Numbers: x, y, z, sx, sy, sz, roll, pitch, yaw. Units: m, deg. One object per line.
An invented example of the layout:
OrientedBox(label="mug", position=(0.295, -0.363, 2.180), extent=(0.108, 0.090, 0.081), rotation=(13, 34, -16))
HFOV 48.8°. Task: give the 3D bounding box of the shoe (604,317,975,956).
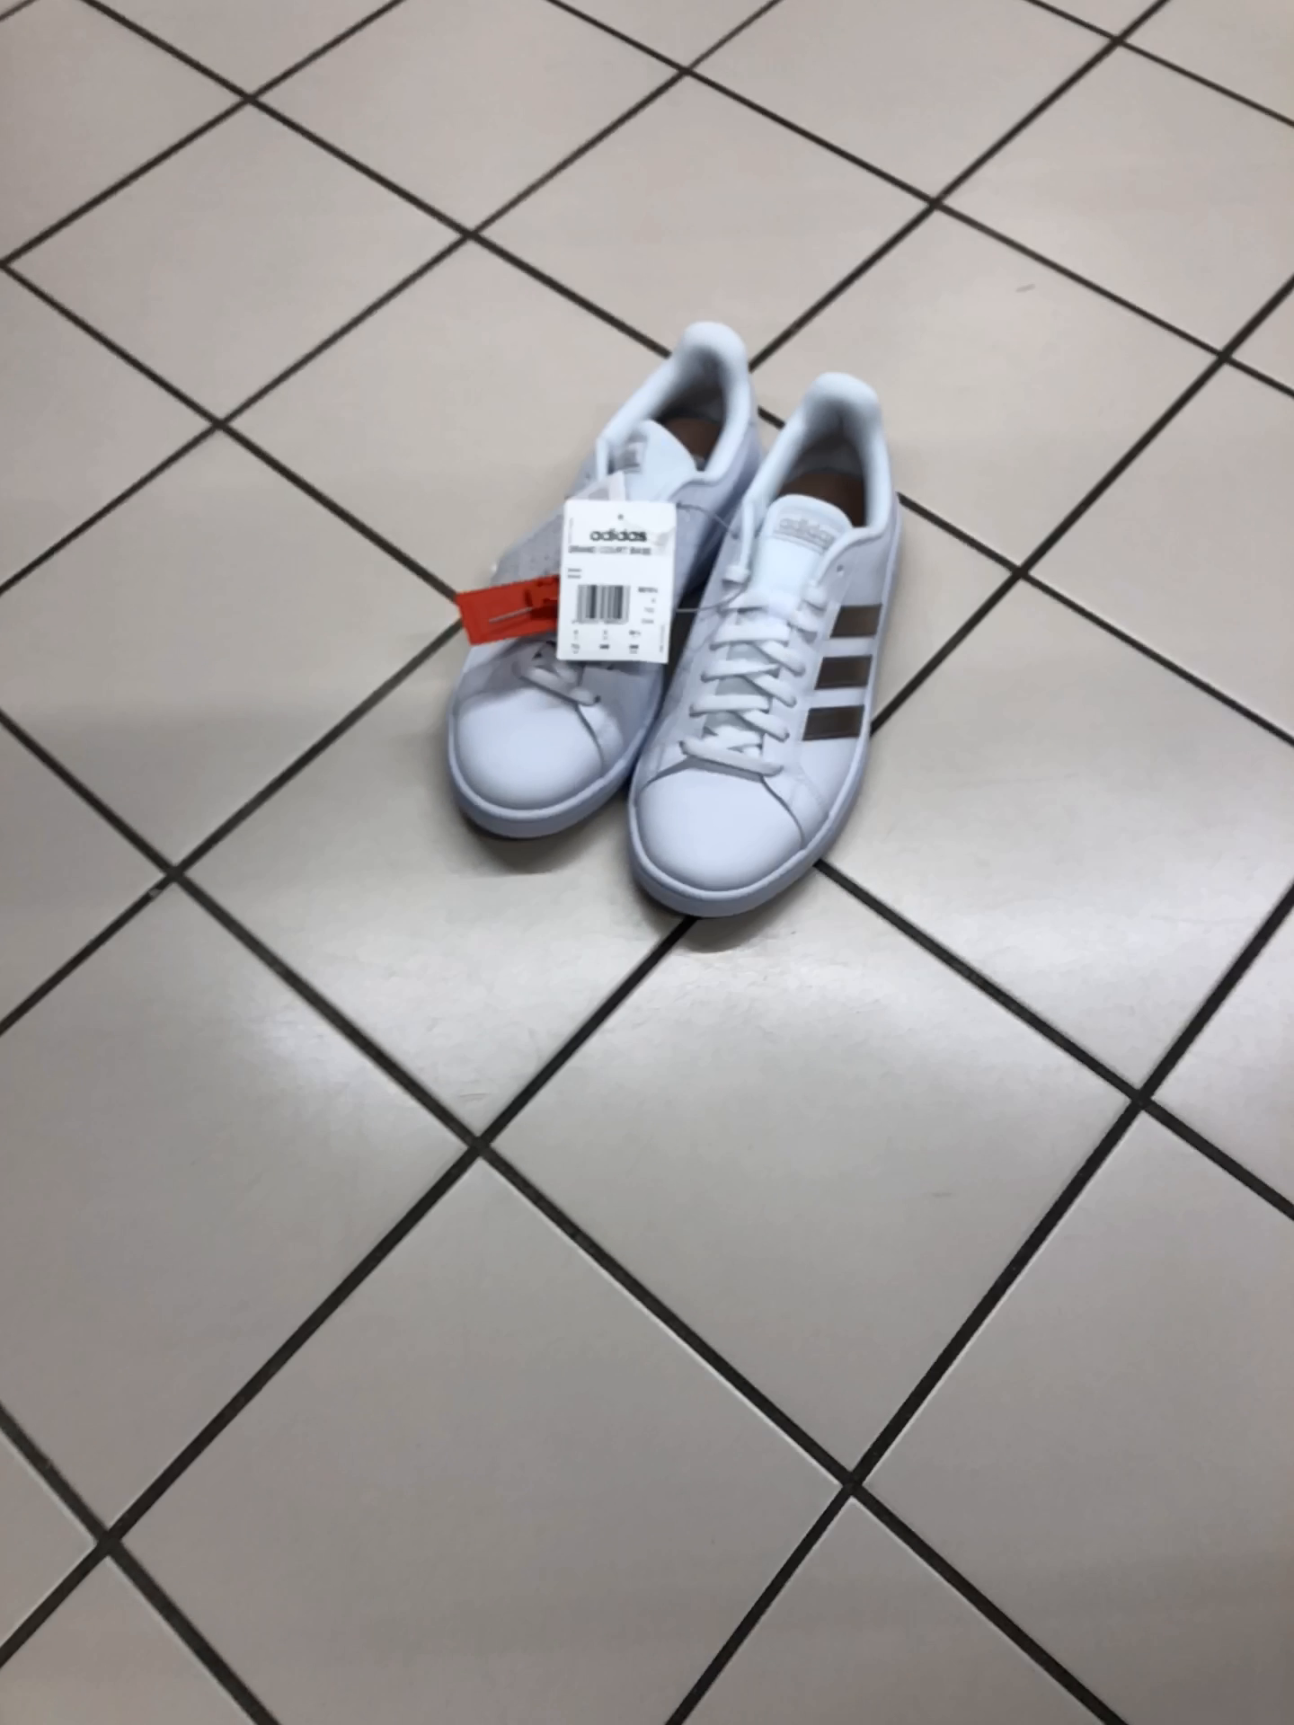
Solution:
OrientedBox(label="shoe", position=(0.071, -0.112, 0.675), extent=(0.100, 0.100, 0.281), rotation=(14, 64, 9))

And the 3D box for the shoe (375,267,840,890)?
OrientedBox(label="shoe", position=(-0.009, -0.142, 0.687), extent=(0.100, 0.100, 0.281), rotation=(21, 65, 12))
